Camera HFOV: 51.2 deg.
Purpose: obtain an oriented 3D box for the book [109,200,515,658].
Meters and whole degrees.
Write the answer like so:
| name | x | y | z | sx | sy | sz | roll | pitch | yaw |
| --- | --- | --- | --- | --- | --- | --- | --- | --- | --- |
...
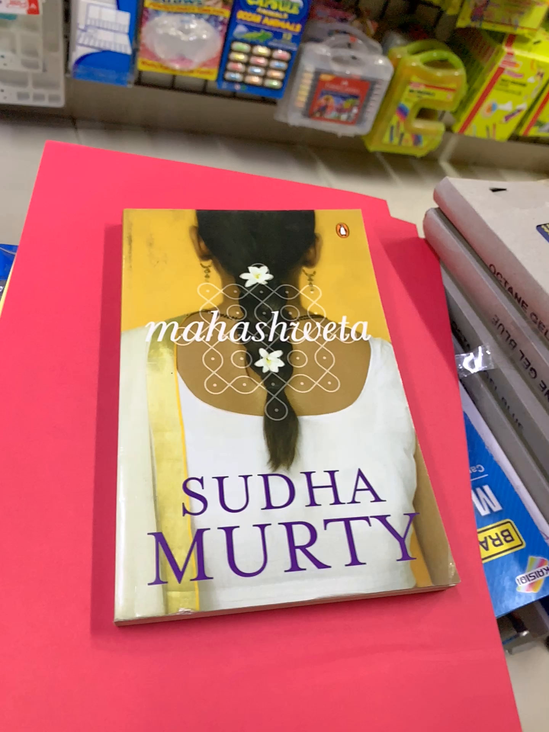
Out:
| name | x | y | z | sx | sy | sz | roll | pitch | yaw |
| --- | --- | --- | --- | --- | --- | --- | --- | --- | --- |
| book | 0.004 | 0.007 | 0.252 | 0.140 | 0.020 | 0.201 | -2 | 59 | -10 |
